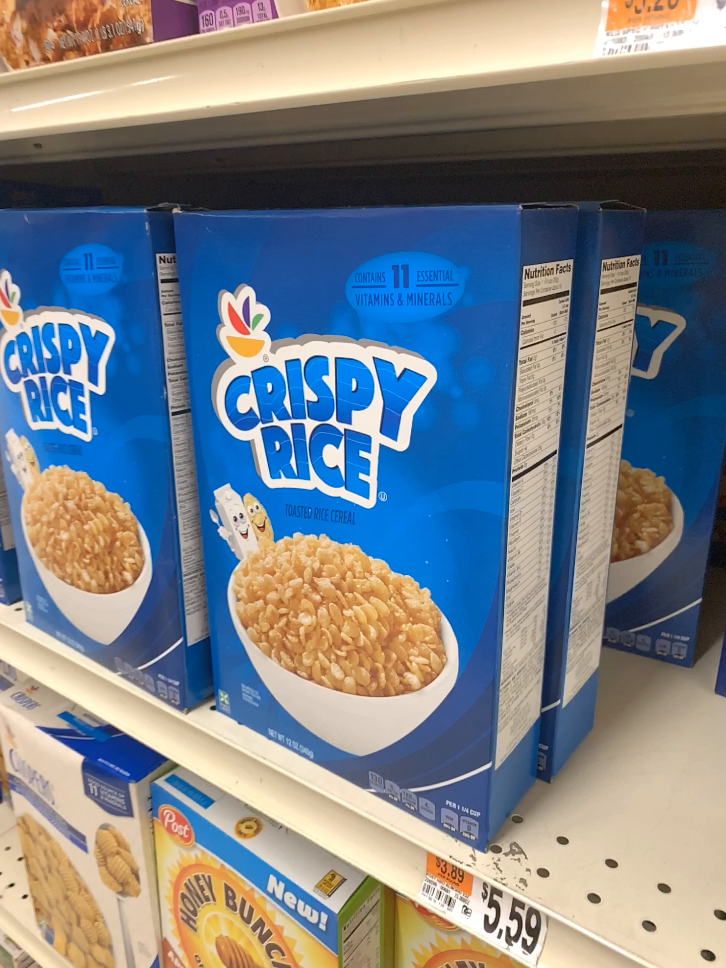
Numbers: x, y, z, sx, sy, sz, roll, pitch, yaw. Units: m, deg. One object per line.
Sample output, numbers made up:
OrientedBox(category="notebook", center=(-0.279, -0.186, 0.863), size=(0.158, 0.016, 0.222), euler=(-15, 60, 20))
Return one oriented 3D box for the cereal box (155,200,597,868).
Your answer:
OrientedBox(category="cereal box", center=(-0.001, 0.015, 0.413), size=(0.210, 0.318, 0.070), euler=(13, 24, 34))
